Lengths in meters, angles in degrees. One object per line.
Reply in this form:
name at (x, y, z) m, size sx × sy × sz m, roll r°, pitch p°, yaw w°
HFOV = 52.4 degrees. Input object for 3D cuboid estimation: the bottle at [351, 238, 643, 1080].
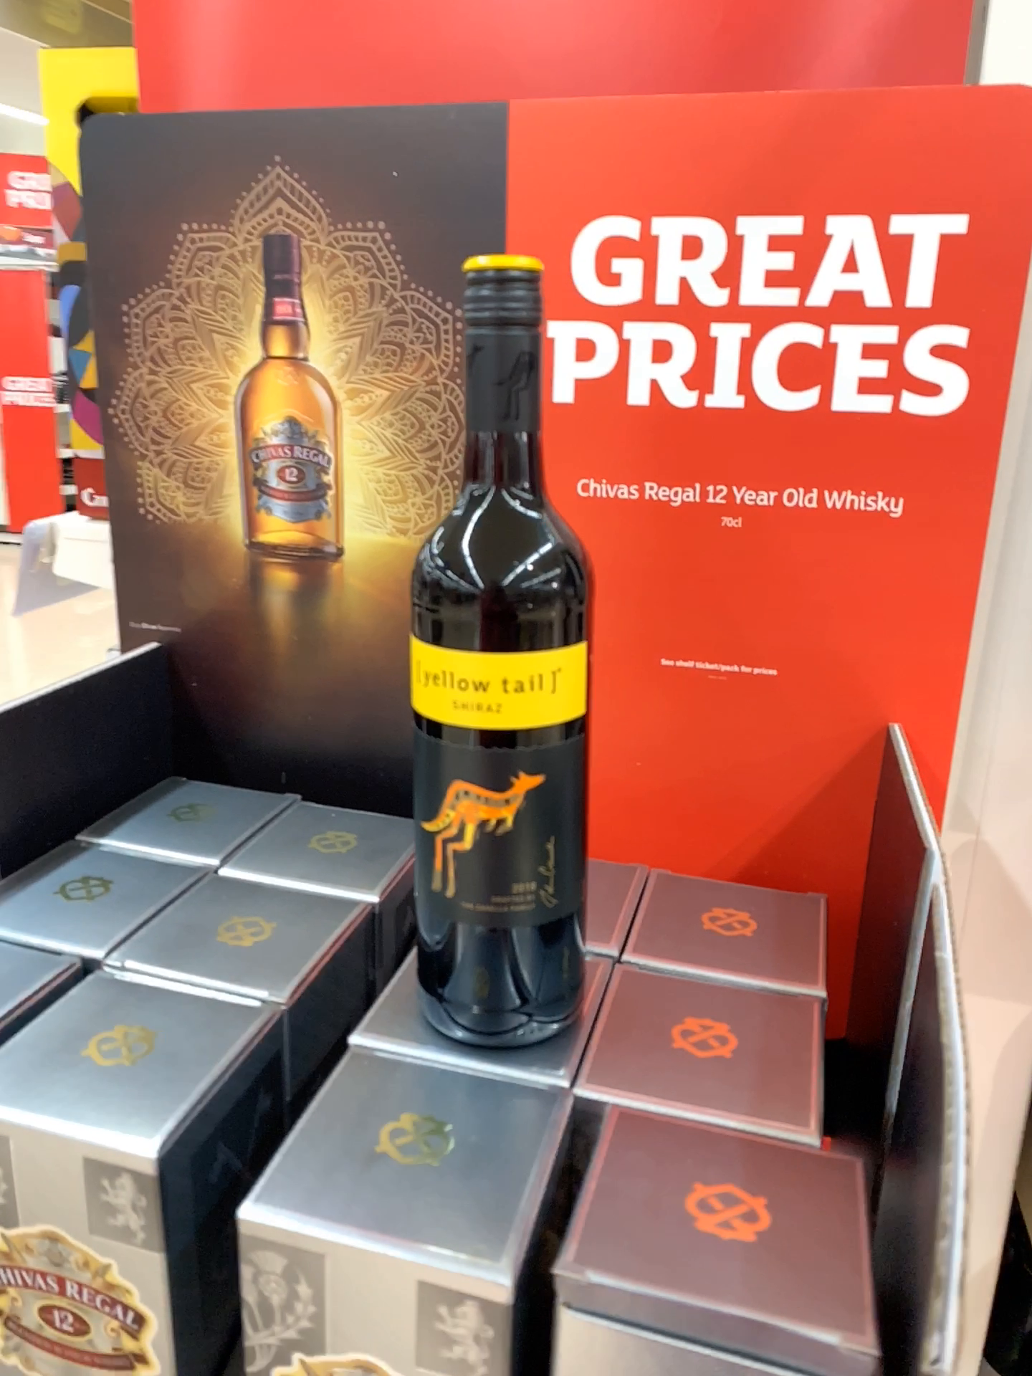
bottle at (-0.007, -0.008, 0.416) m, size 0.086 × 0.308 × 0.081 m, roll 1°, pitch 17°, yaw 0°
